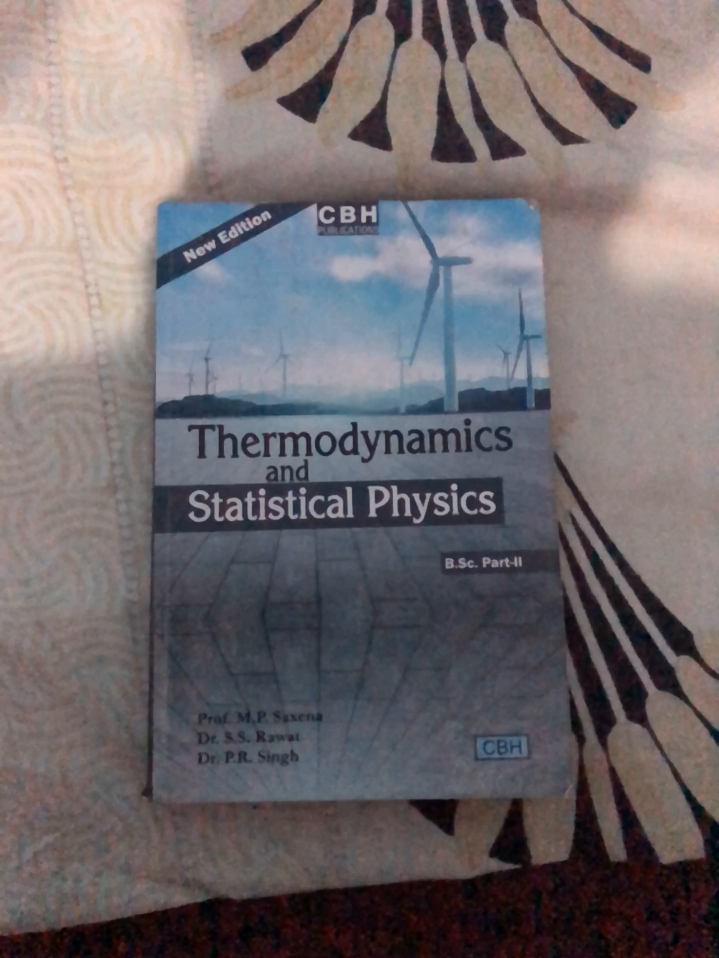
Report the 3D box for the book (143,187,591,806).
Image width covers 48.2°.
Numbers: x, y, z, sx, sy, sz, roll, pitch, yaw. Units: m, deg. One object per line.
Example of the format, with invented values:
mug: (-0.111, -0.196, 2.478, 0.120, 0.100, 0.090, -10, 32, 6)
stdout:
book: (0.001, 0.005, 0.332, 0.170, 0.030, 0.240, -2, 86, 0)
